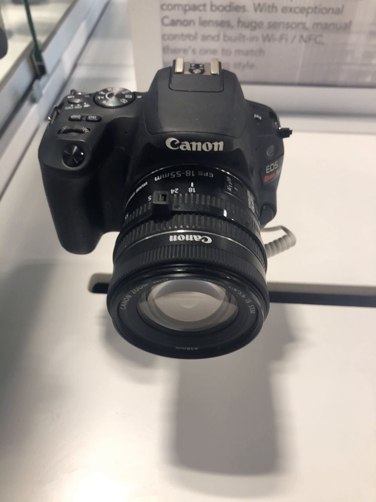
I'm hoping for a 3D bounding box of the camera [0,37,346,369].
[{"bbox_3d":[-0.015,-0.023,0.193,0.122,0.099,0.111,2,48,2],"label":"camera"}]
